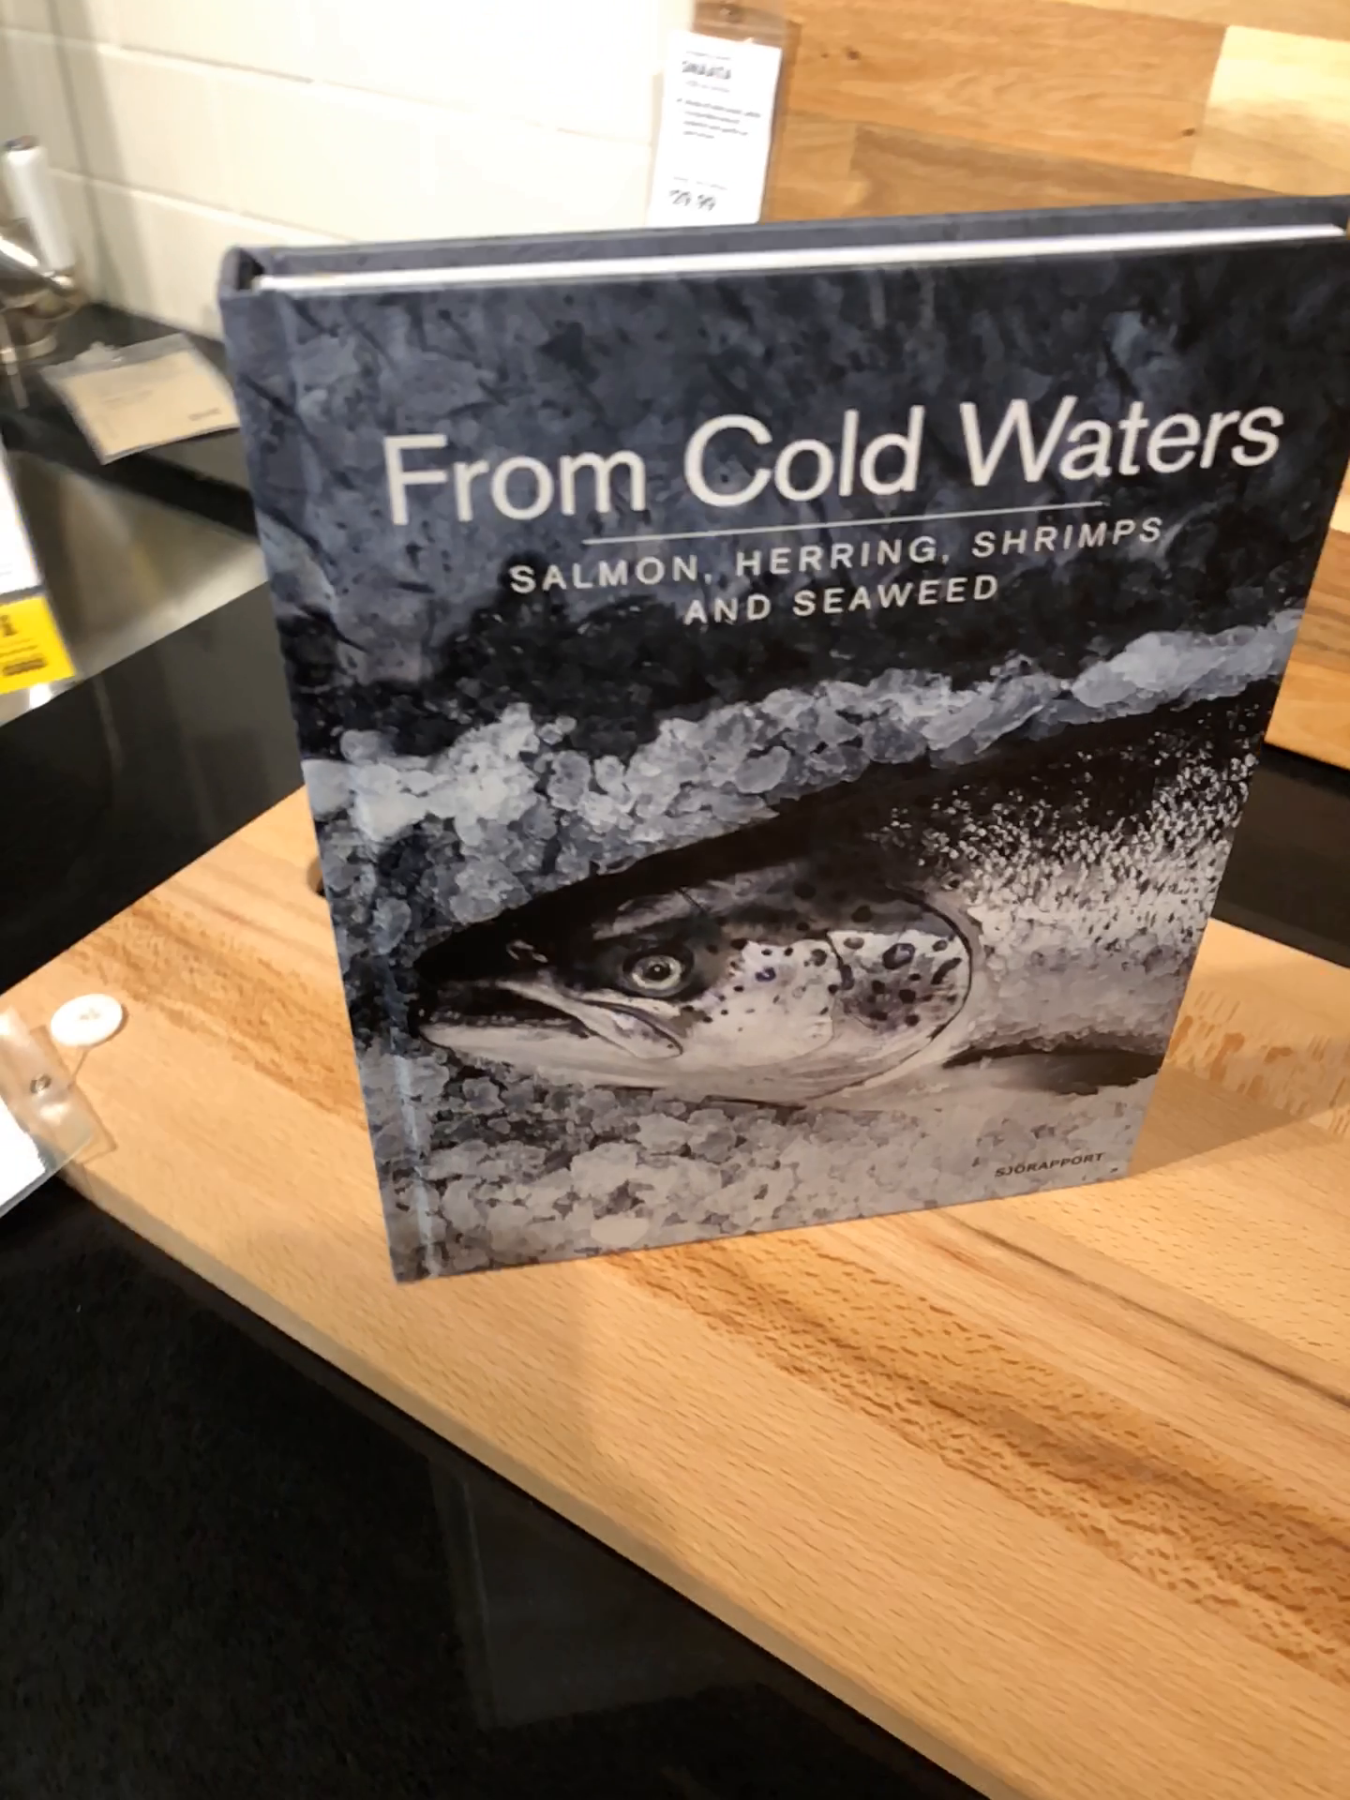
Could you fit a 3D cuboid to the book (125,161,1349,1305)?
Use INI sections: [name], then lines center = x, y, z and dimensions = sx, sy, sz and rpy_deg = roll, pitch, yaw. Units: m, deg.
[book]
center = 0.030, -0.016, 0.291
dimensions = 0.213, 0.219, 0.029
rpy_deg = -6, 39, -9
